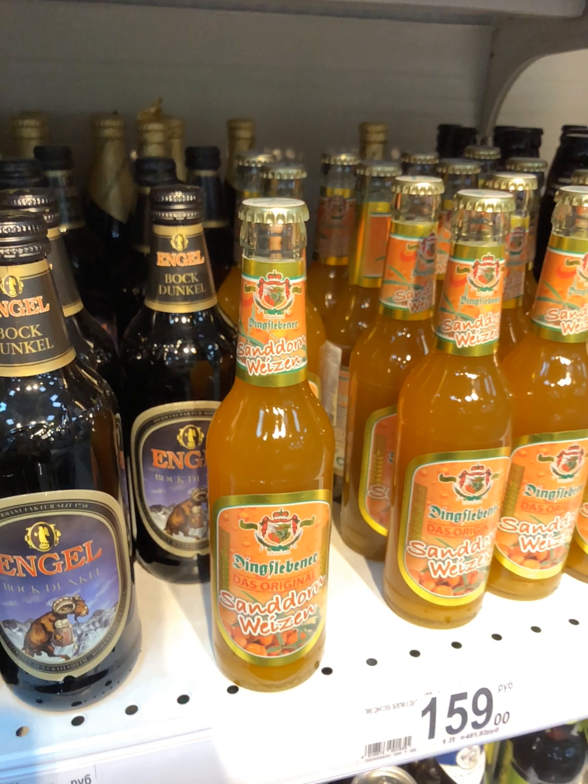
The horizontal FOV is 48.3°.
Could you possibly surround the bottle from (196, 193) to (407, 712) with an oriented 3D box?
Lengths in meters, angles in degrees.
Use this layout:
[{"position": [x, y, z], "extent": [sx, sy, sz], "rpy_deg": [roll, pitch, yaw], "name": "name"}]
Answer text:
[{"position": [-0.003, 0.032, 0.293], "extent": [0.070, 0.225, 0.060], "rpy_deg": [-3, 24, -10], "name": "bottle"}]
